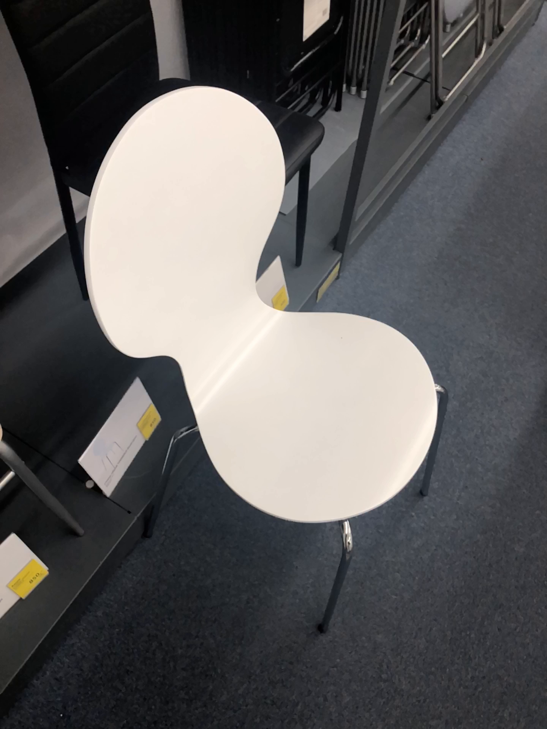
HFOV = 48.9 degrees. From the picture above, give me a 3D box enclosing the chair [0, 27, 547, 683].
[{"bbox_3d":[0.006,0.043,1.061,0.640,0.818,0.561,34,60,17],"label":"chair"}]
